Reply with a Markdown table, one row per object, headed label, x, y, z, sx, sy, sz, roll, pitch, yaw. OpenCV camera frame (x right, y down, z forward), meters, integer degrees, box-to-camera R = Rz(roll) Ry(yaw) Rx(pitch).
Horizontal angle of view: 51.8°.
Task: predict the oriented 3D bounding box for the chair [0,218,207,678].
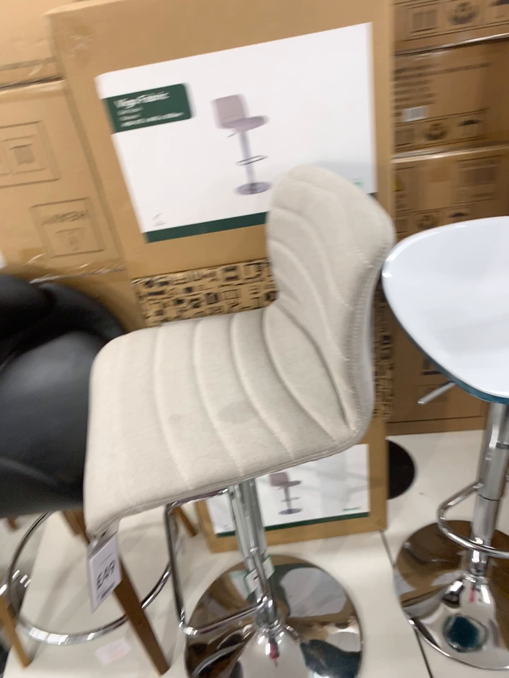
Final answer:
| label | x | y | z | sx | sy | sz | roll | pitch | yaw |
| --- | --- | --- | --- | --- | --- | --- | --- | --- | --- |
| chair | -0.426 | 0.281 | 1.140 | 0.488 | 0.865 | 0.539 | -8 | 34 | 1 |

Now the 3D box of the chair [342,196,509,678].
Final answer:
| label | x | y | z | sx | sy | sz | roll | pitch | yaw |
| --- | --- | --- | --- | --- | --- | --- | --- | --- | --- |
| chair | 0.429 | 0.233 | 0.973 | 0.404 | 0.825 | 0.391 | -11 | 34 | -3 |

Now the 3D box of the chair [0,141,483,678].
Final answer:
| label | x | y | z | sx | sy | sz | roll | pitch | yaw |
| --- | --- | --- | --- | --- | --- | --- | --- | --- | --- |
| chair | -0.016 | 0.254 | 0.924 | 0.508 | 0.984 | 0.468 | -11 | 34 | -3 |
